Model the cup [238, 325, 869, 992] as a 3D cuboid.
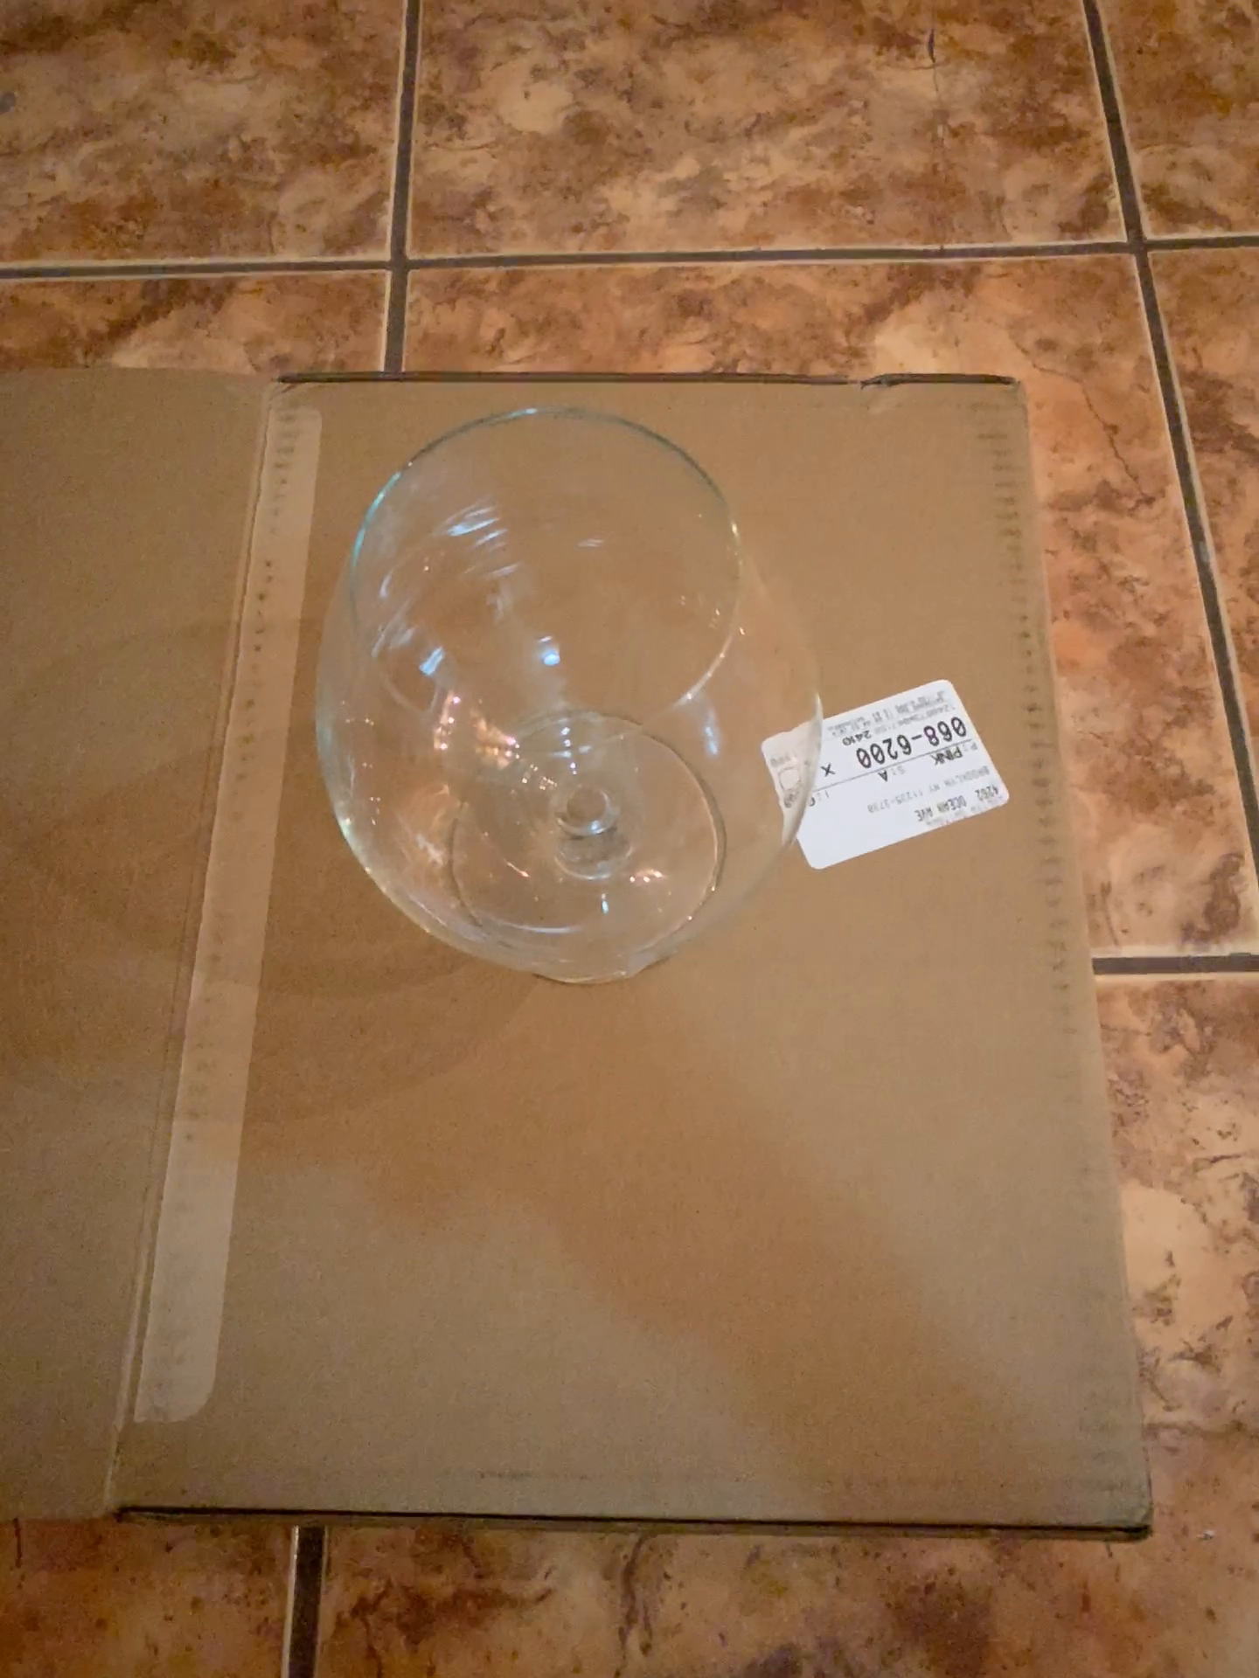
[{"bbox_3d":[-0.013,-0.028,0.305,0.105,0.159,0.085,-2,69,0],"label":"cup"}]
